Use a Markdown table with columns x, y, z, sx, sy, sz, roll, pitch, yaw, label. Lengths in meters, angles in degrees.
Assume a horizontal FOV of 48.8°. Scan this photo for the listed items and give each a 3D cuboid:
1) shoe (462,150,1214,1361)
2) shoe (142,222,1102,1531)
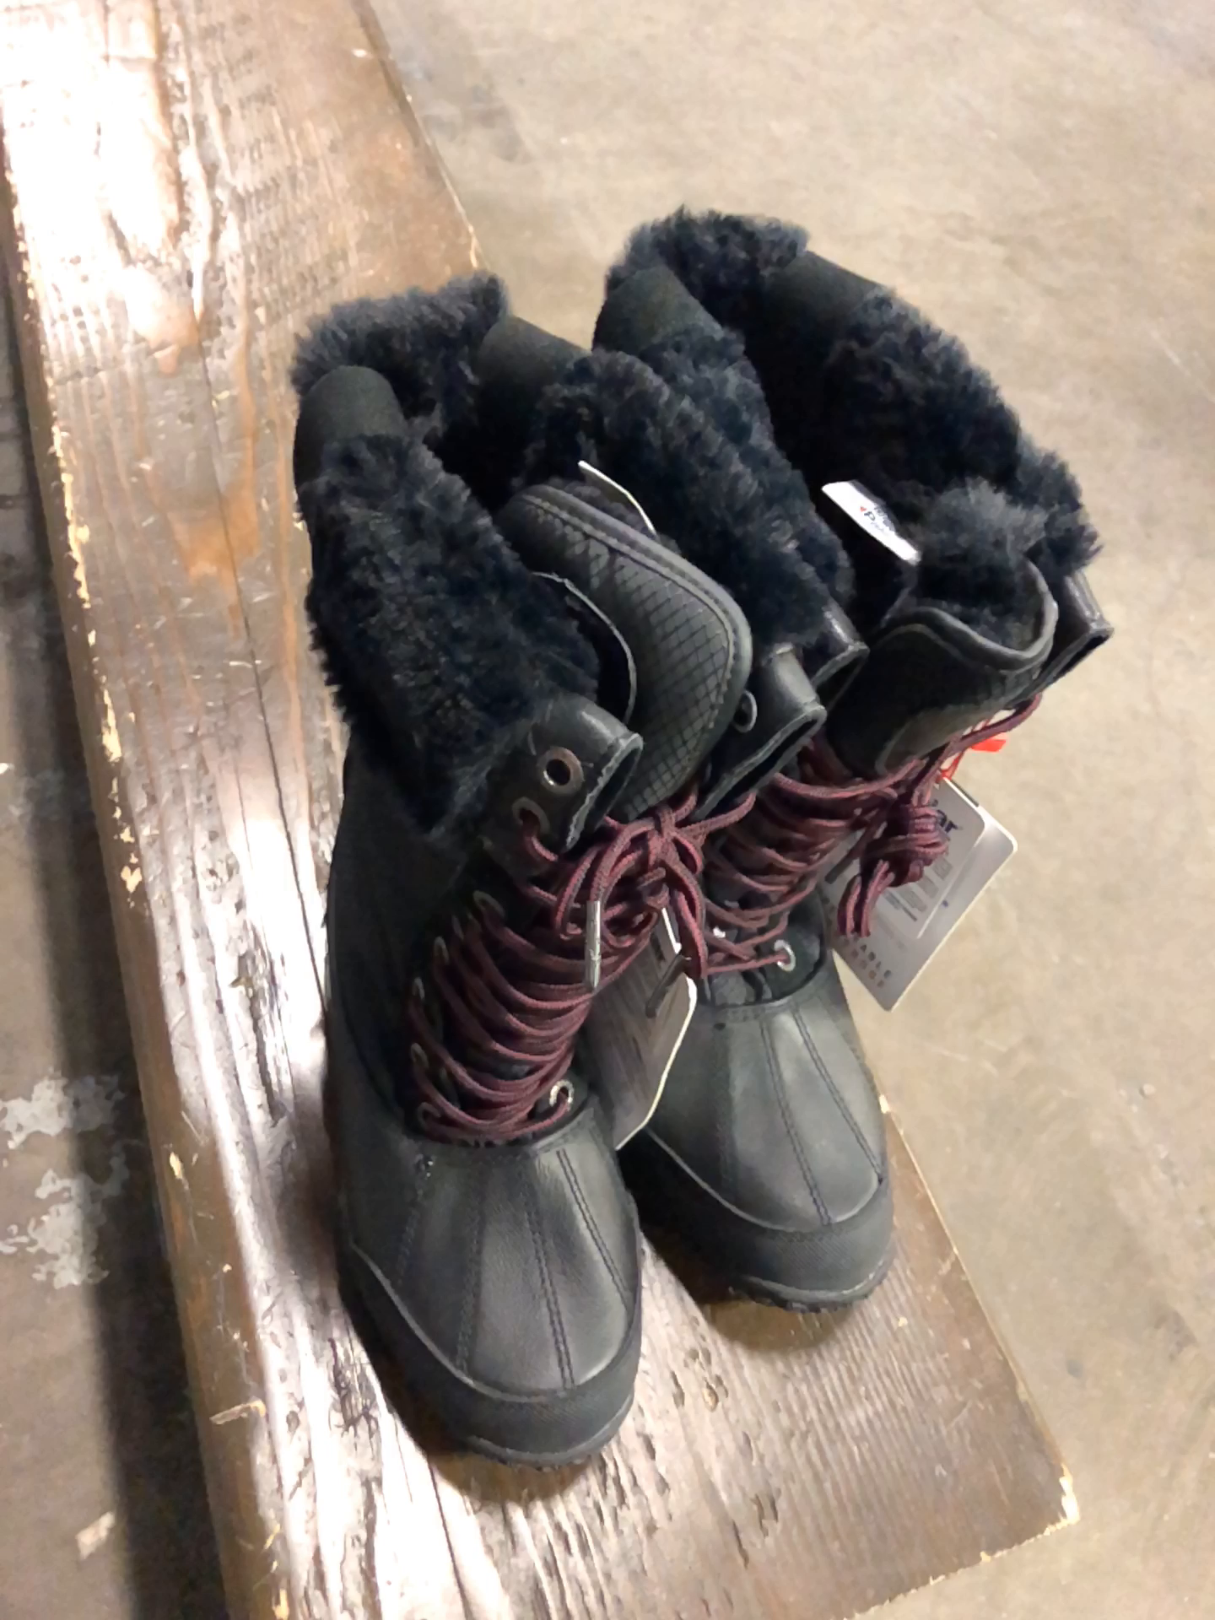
| x | y | z | sx | sy | sz | roll | pitch | yaw | label |
| --- | --- | --- | --- | --- | --- | --- | --- | --- | --- |
| 0.055 | -0.004 | 0.394 | 0.100 | 0.258 | 0.231 | -14 | 58 | -22 | shoe |
| -0.033 | 0.032 | 0.351 | 0.100 | 0.258 | 0.221 | -14 | 58 | -22 | shoe |
